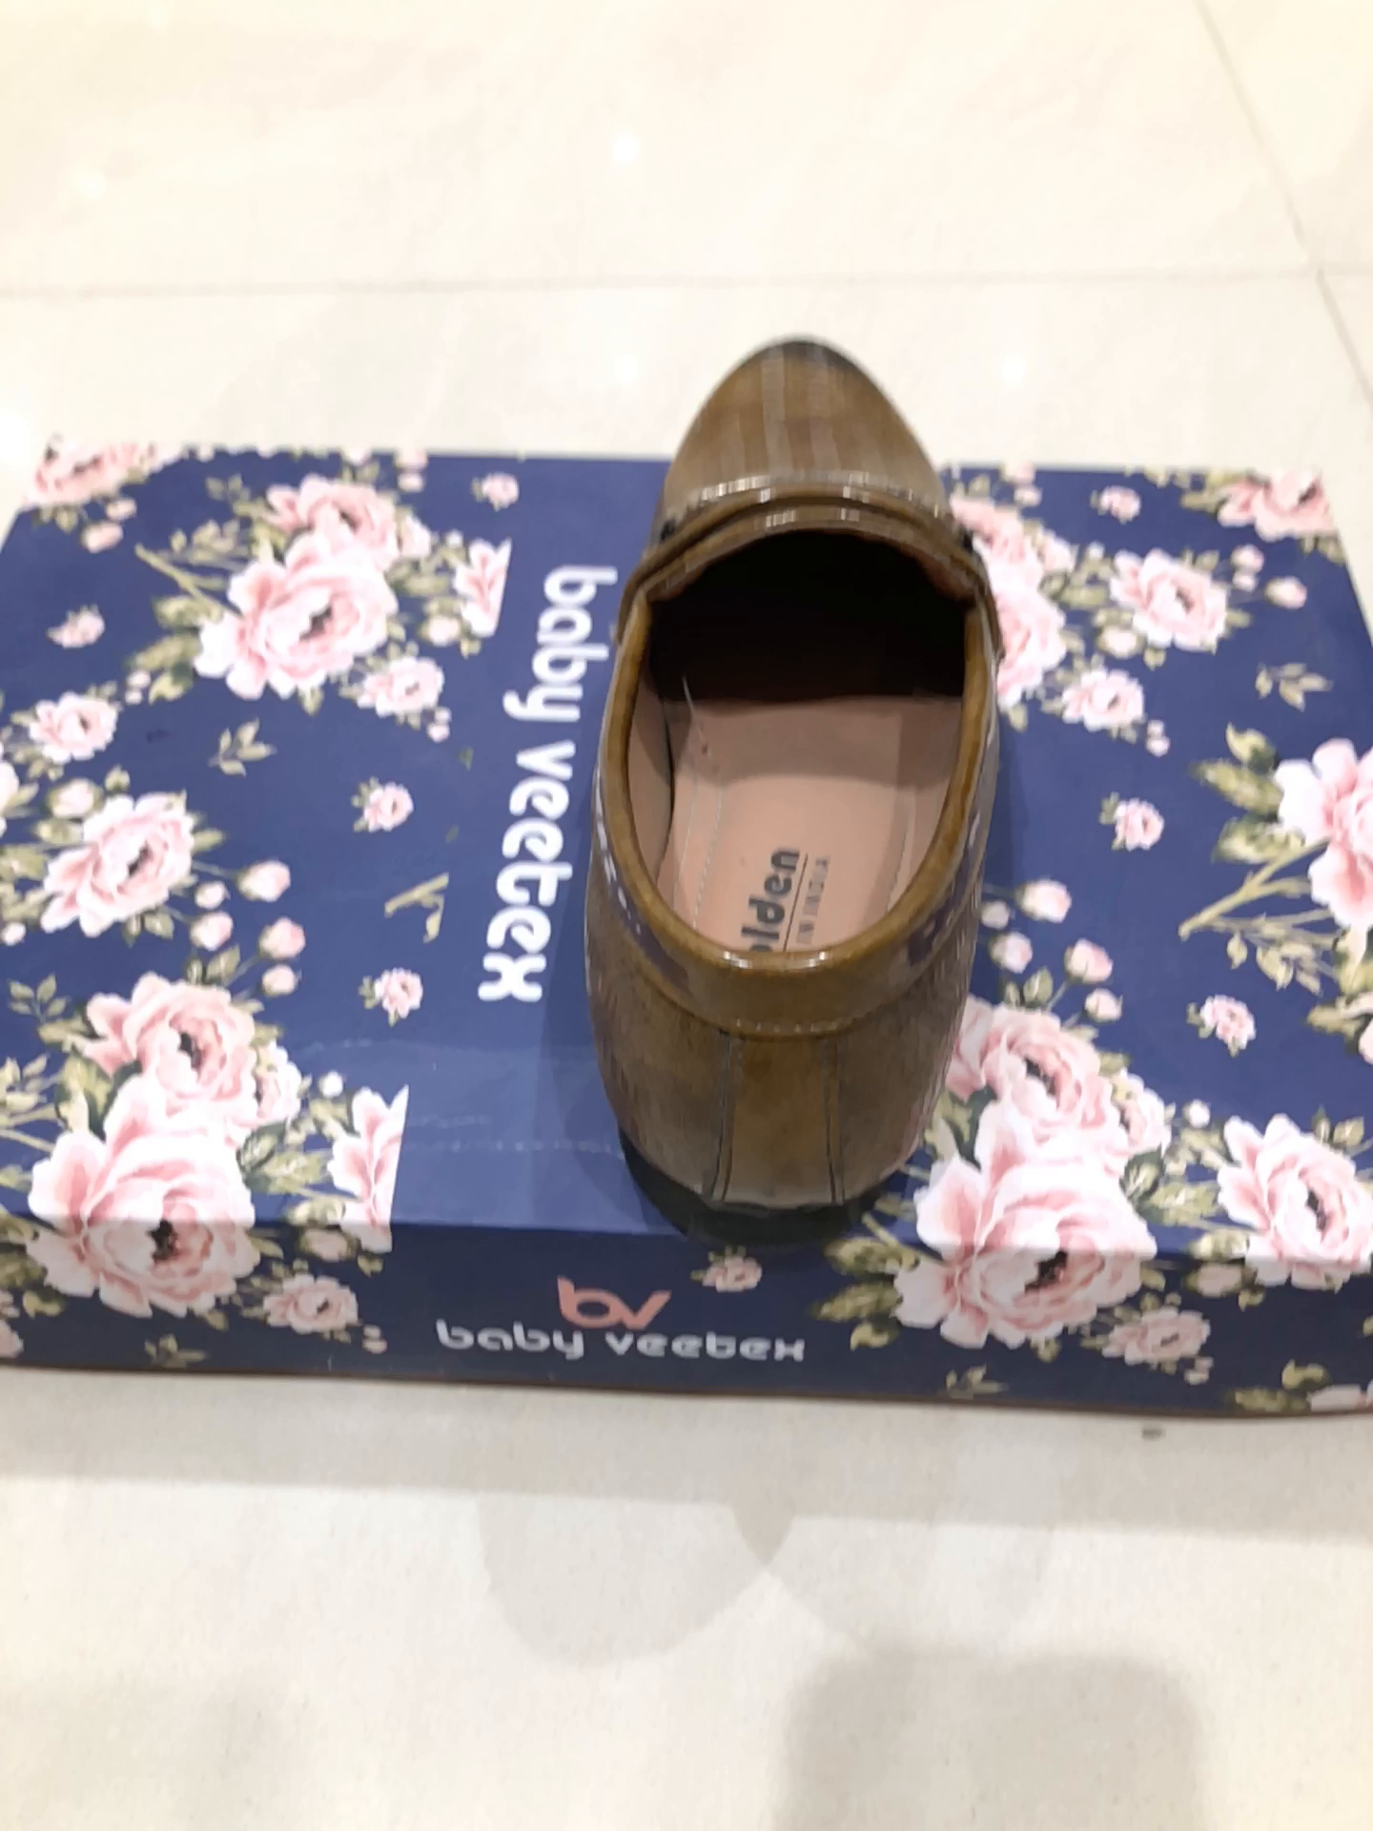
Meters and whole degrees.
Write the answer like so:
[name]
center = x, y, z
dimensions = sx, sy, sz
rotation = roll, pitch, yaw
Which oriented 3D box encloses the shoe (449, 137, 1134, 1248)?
[shoe]
center = 0.018, -0.053, 0.294
dimensions = 0.090, 0.080, 0.211
rotation = 2, 55, 1
